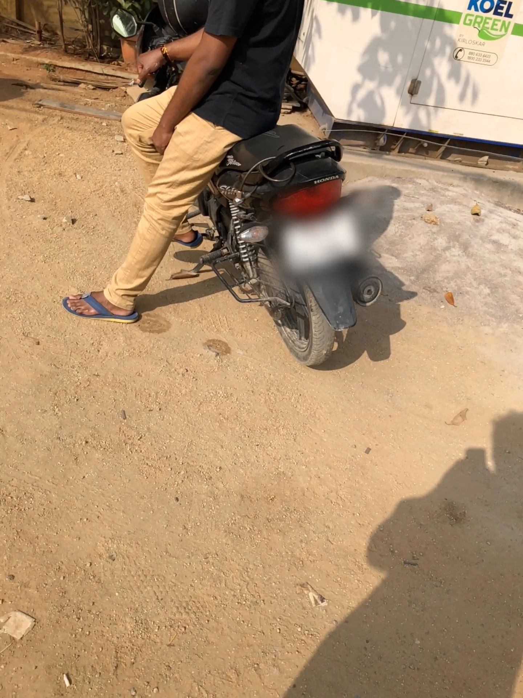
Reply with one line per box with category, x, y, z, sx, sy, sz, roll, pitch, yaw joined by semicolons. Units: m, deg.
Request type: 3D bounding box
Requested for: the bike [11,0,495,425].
bike;-0.259;-0.814;2.262;0.882;1.213;1.696;-12;41;-29
